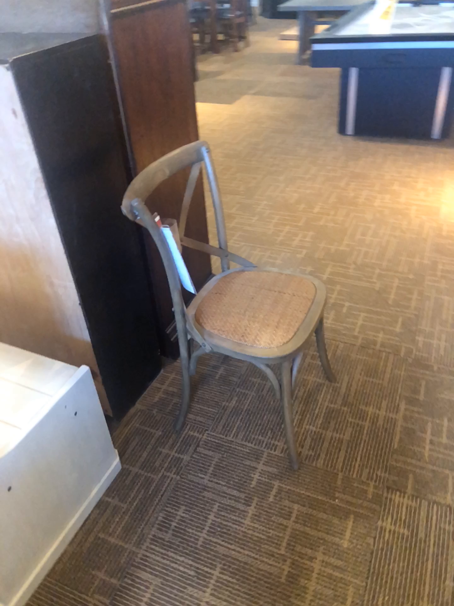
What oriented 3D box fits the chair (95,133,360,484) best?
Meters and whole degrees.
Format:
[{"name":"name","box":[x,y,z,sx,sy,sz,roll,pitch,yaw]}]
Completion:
[{"name":"chair","box":[0.047,0.008,1.529,0.530,0.861,0.492,13,39,22]}]
